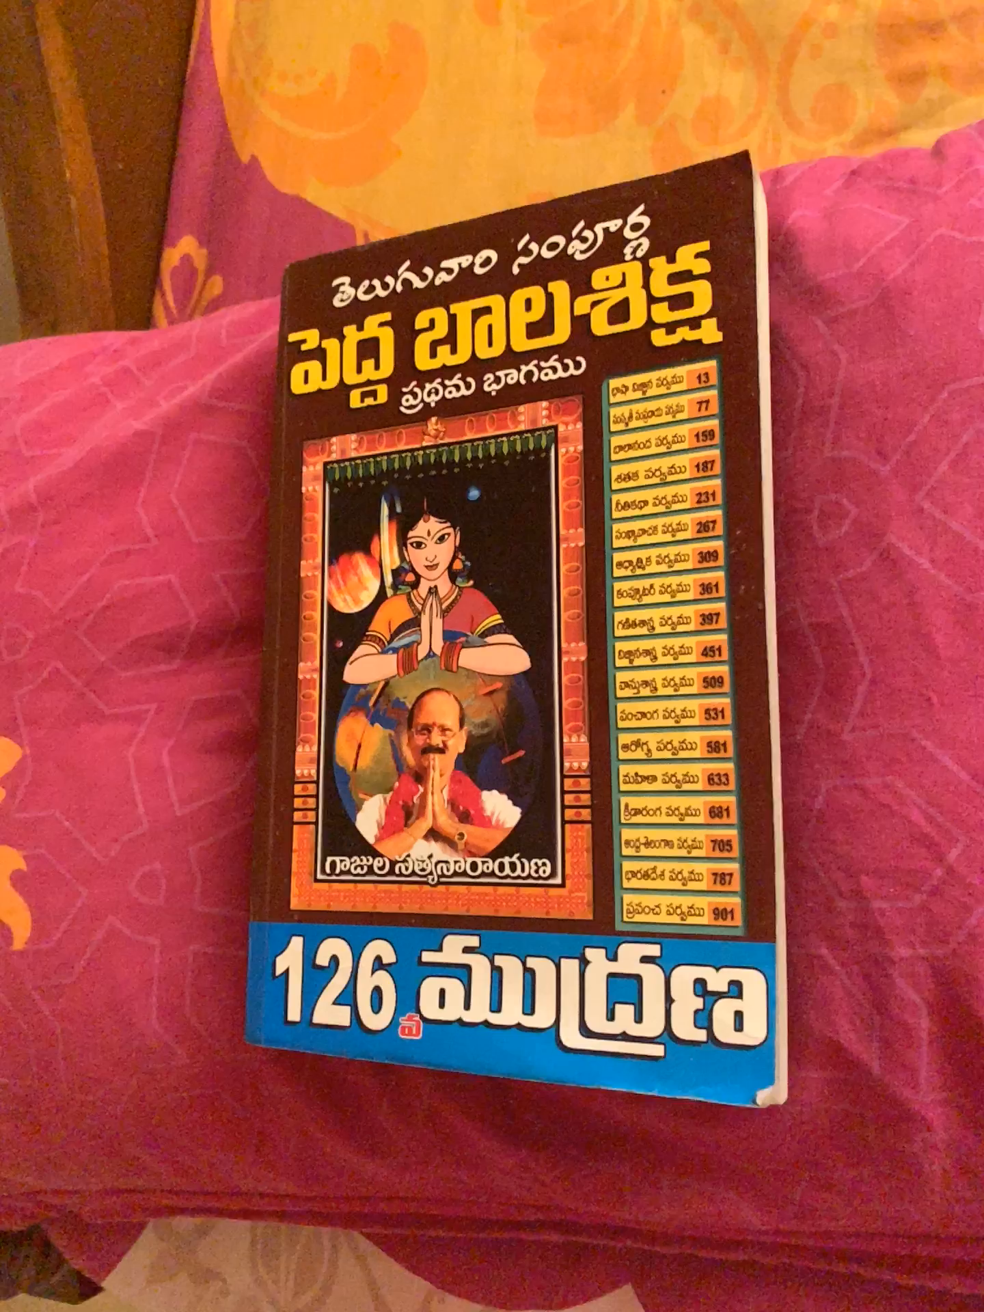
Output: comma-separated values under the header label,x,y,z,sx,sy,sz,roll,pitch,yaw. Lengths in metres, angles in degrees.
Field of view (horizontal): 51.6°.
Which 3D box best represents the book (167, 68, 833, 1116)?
label,x,y,z,sx,sy,sz,roll,pitch,yaw
book,0.000,-0.019,0.305,0.180,0.050,0.260,-3,79,24
